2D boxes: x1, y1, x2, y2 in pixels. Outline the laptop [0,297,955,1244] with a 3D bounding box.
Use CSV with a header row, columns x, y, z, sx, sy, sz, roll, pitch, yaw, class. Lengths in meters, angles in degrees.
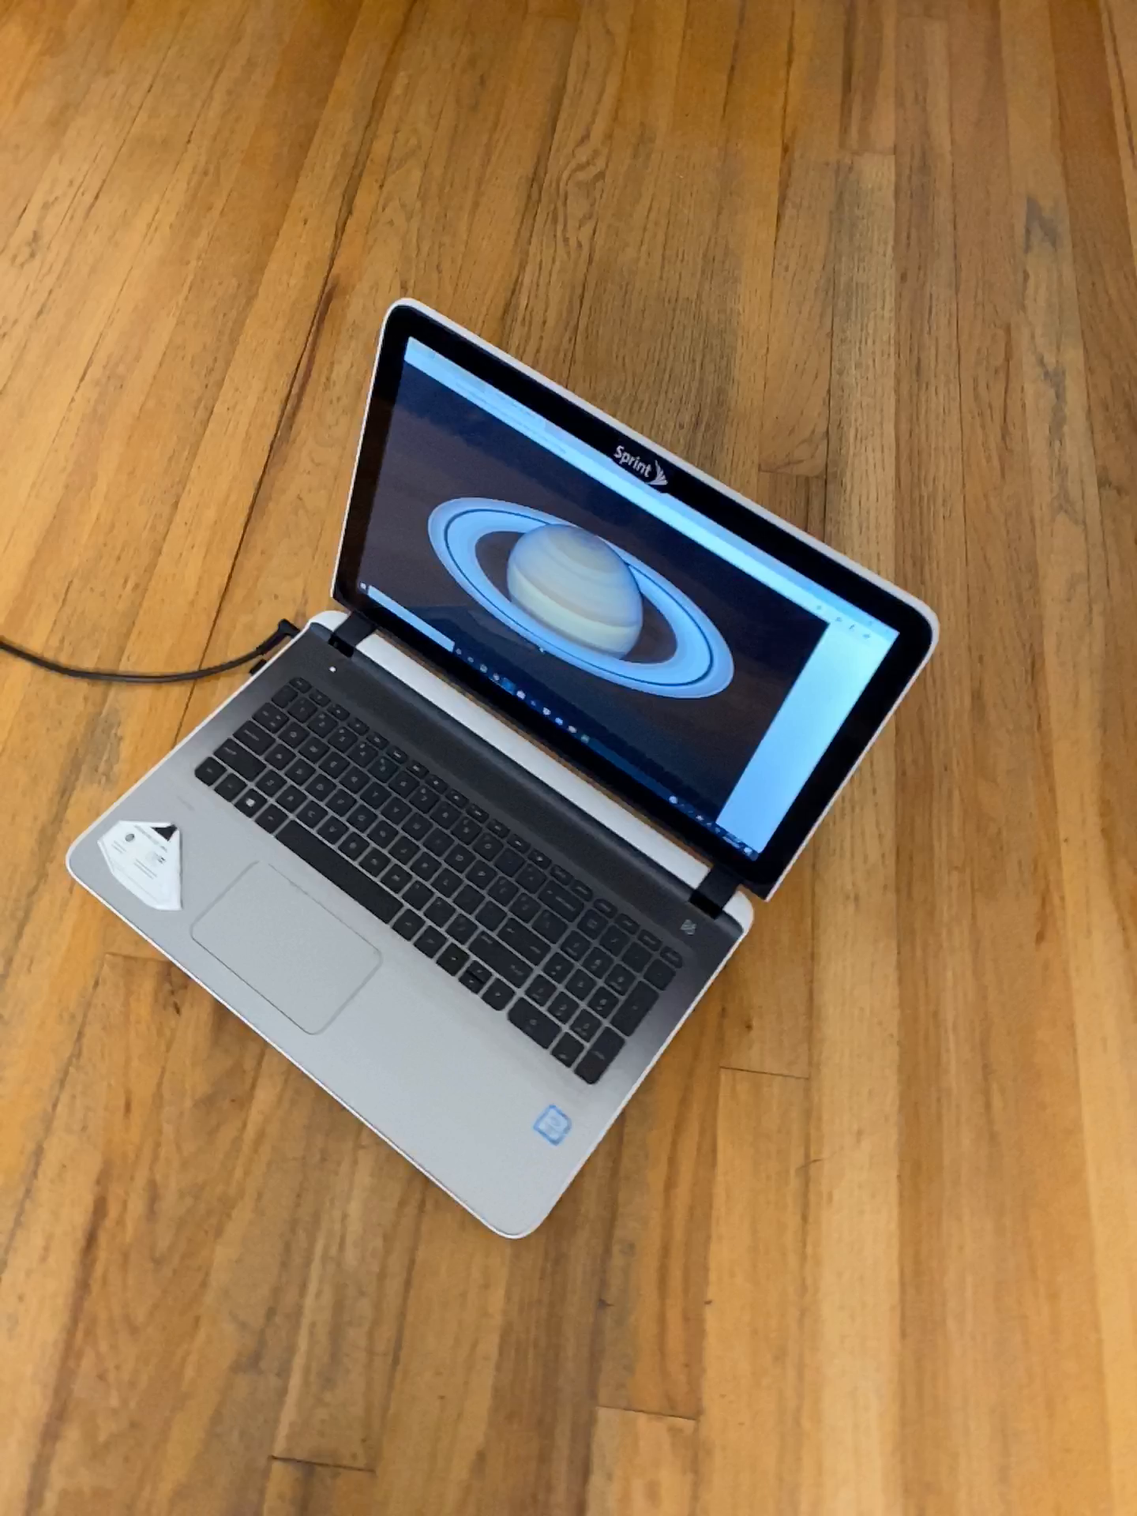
x,y,z,sx,sy,sz,roll,pitch,yaw,class
-0.058,-0.002,0.680,0.371,0.202,0.364,35,67,14,laptop
